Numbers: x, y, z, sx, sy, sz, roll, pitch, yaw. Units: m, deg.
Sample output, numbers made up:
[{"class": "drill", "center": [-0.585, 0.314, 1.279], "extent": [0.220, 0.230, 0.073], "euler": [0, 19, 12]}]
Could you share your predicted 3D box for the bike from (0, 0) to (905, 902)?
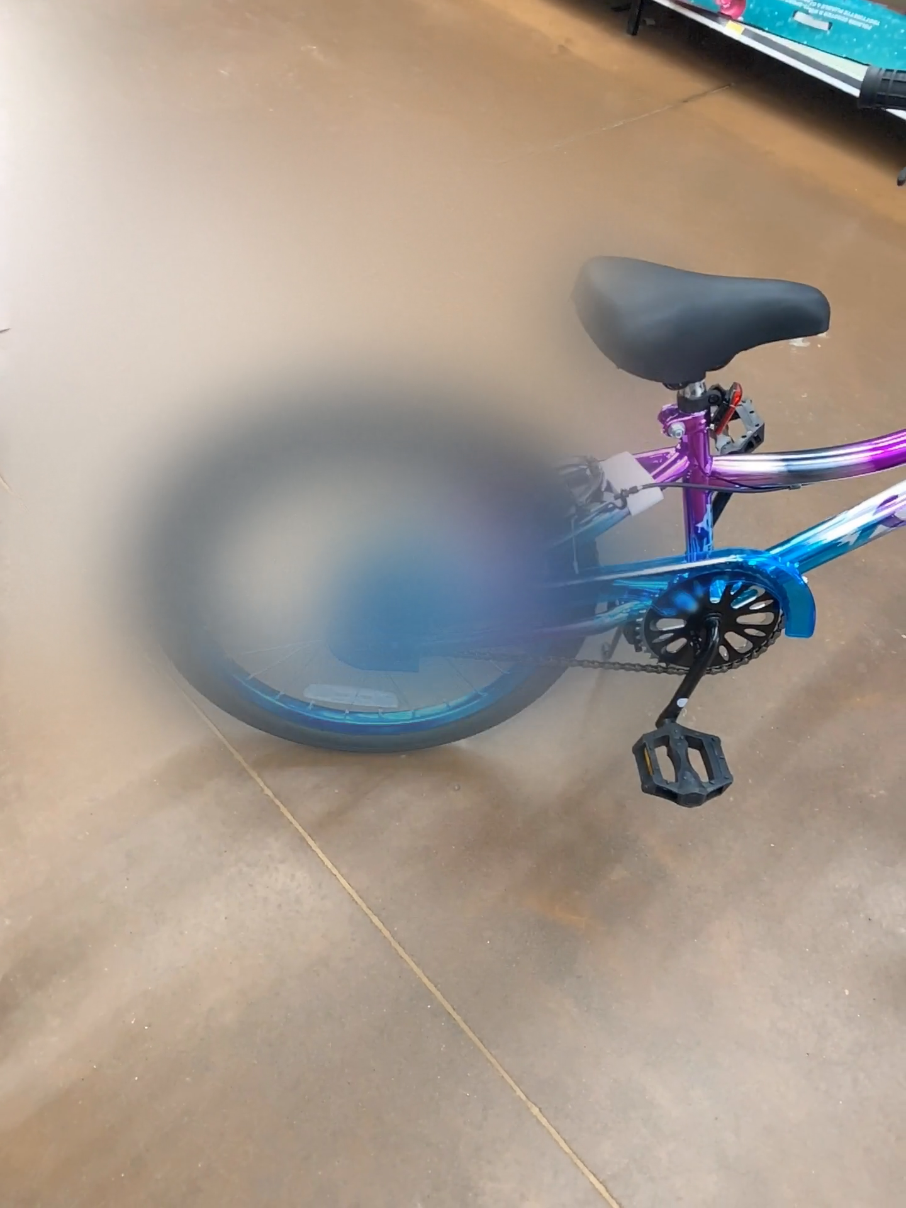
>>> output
[{"class": "bike", "center": [0.279, -0.256, 0.952], "extent": [1.120, 0.877, 0.622], "euler": [-3, 52, -13]}]
